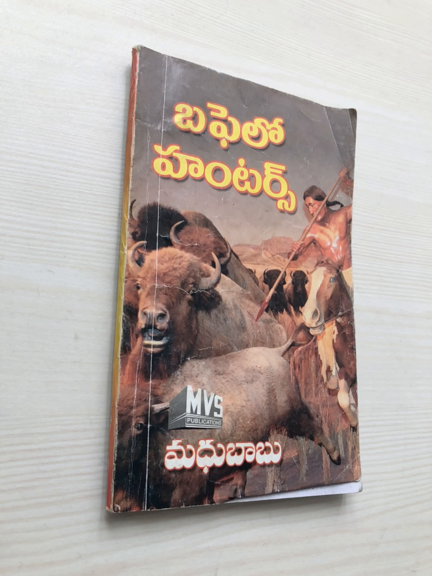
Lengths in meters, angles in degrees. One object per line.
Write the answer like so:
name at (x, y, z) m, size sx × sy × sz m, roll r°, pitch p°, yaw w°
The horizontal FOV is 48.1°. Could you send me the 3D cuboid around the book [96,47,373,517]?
book at (0.012, -0.001, 0.184) m, size 0.100 × 0.020 × 0.150 m, roll 5°, pitch 84°, yaw -25°
